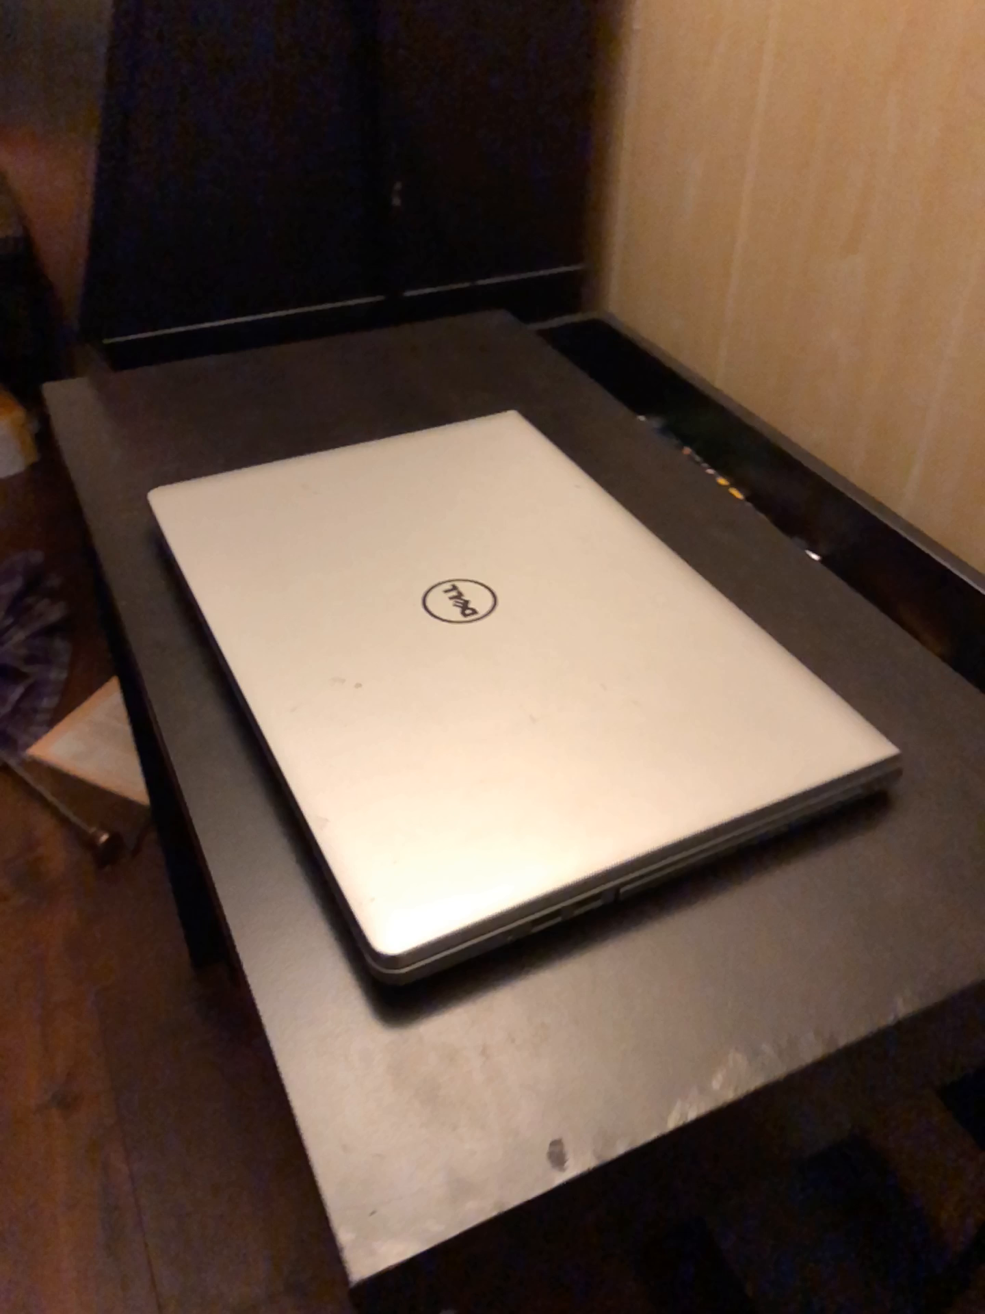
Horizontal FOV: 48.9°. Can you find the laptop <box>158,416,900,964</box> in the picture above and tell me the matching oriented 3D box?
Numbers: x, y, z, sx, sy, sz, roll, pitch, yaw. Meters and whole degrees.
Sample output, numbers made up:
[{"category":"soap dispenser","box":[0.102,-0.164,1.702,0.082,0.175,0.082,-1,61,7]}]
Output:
[{"category":"laptop","box":[-0.011,-0.027,0.572,0.249,0.003,0.372,-17,41,-20]}]
